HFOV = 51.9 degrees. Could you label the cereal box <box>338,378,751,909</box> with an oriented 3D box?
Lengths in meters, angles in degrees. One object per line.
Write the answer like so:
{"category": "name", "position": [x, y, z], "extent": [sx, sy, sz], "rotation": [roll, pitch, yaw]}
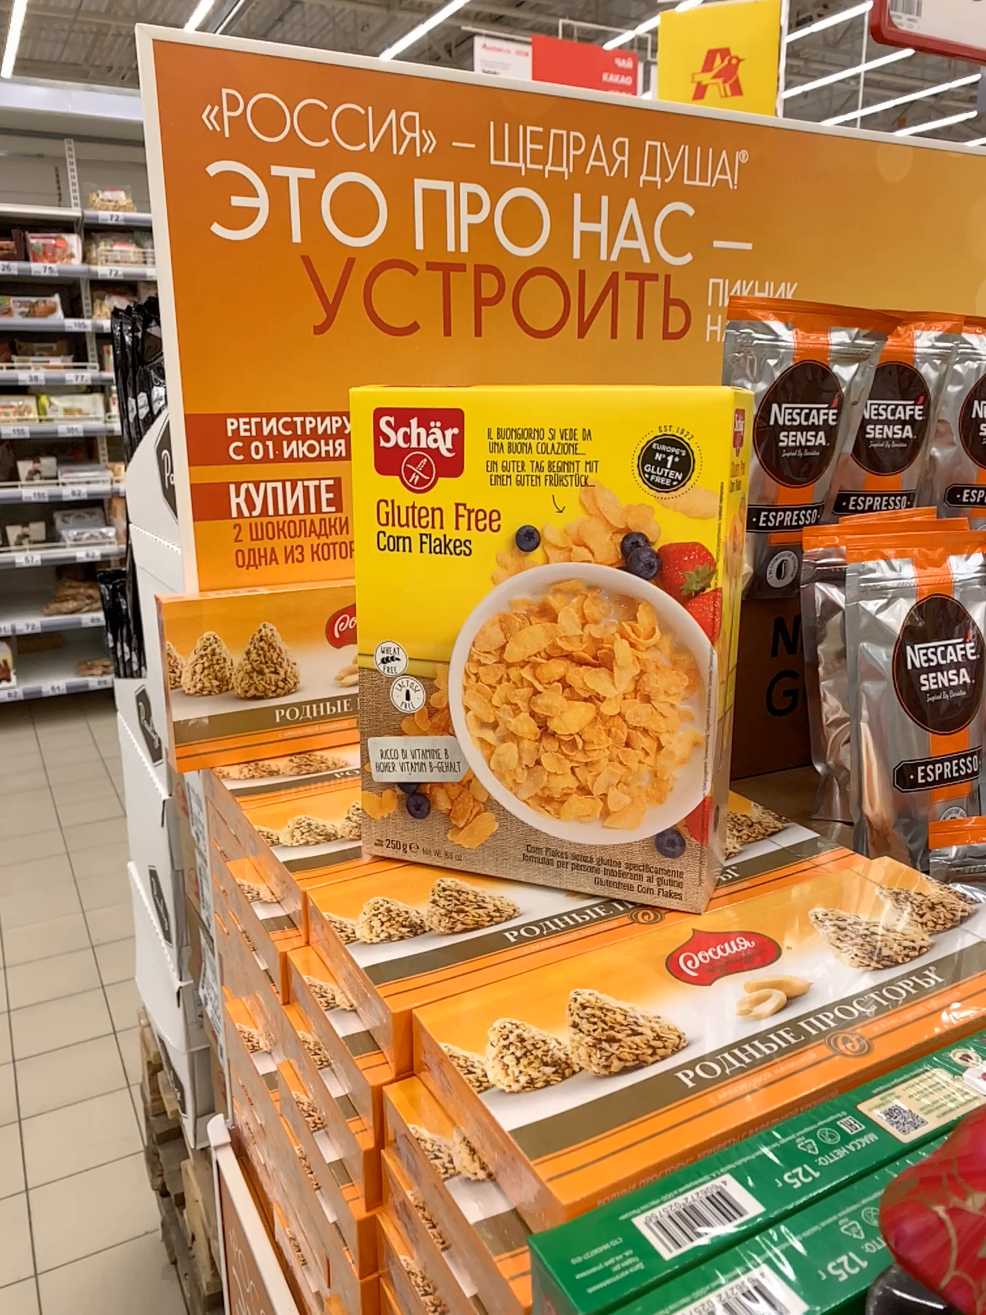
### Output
{"category": "cereal box", "position": [0.026, -0.014, 0.545], "extent": [0.200, 0.259, 0.060], "rotation": [5, 15, 21]}
